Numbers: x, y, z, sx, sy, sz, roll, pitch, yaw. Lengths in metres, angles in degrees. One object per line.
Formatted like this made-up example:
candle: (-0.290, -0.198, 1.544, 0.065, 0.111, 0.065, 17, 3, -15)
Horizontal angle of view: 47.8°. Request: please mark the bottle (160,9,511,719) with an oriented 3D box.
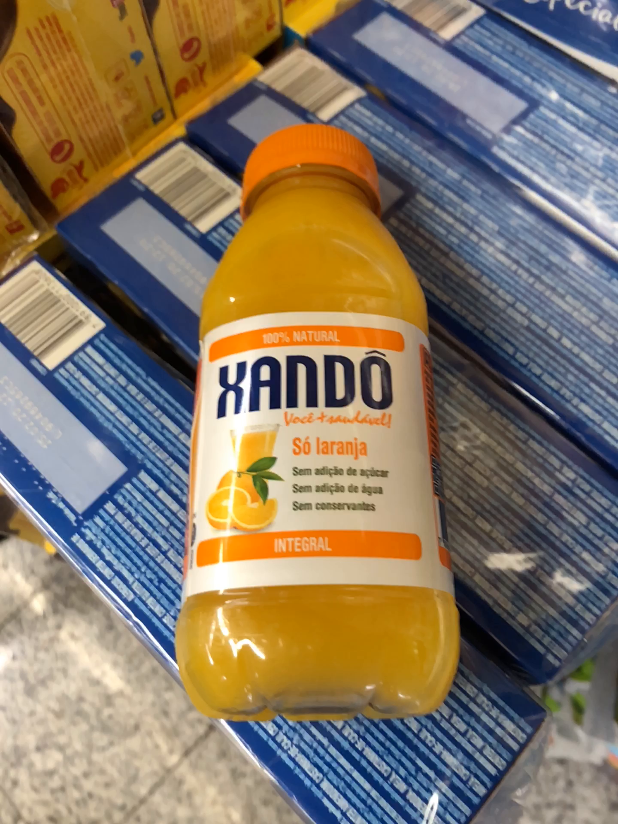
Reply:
bottle: (0.004, -0.012, 0.189, 0.060, 0.080, 0.170, -2, 68, 1)
